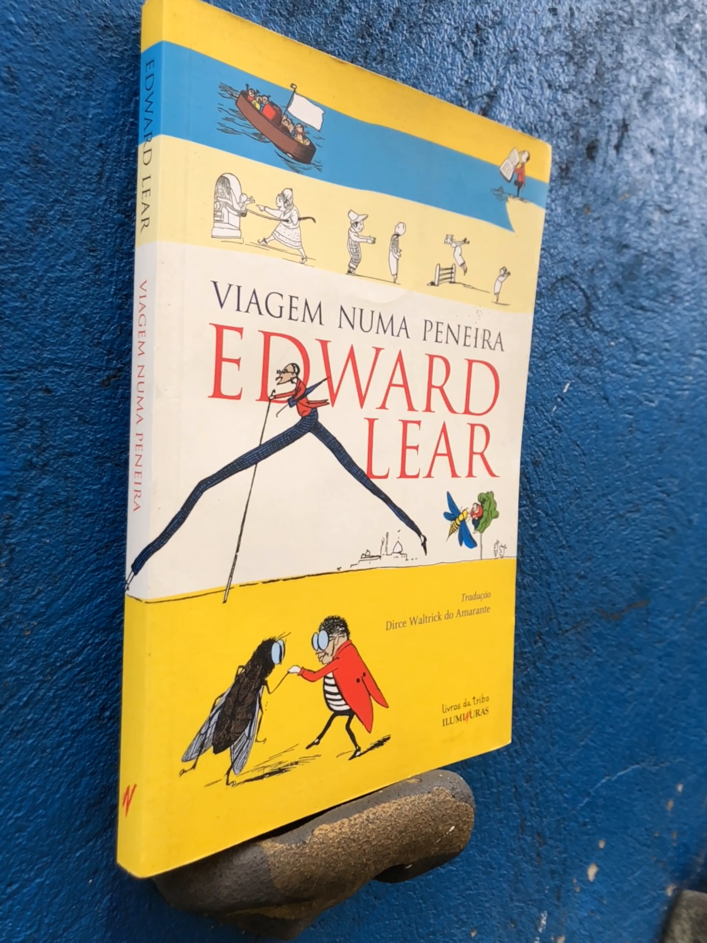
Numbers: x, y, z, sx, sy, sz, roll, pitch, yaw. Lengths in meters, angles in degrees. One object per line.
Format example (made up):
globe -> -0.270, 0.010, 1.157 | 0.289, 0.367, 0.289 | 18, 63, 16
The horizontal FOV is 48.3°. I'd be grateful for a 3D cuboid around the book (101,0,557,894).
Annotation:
book -> 0.005, -0.009, 0.247 | 0.158, 0.220, 0.021 | 1, 3, -43
